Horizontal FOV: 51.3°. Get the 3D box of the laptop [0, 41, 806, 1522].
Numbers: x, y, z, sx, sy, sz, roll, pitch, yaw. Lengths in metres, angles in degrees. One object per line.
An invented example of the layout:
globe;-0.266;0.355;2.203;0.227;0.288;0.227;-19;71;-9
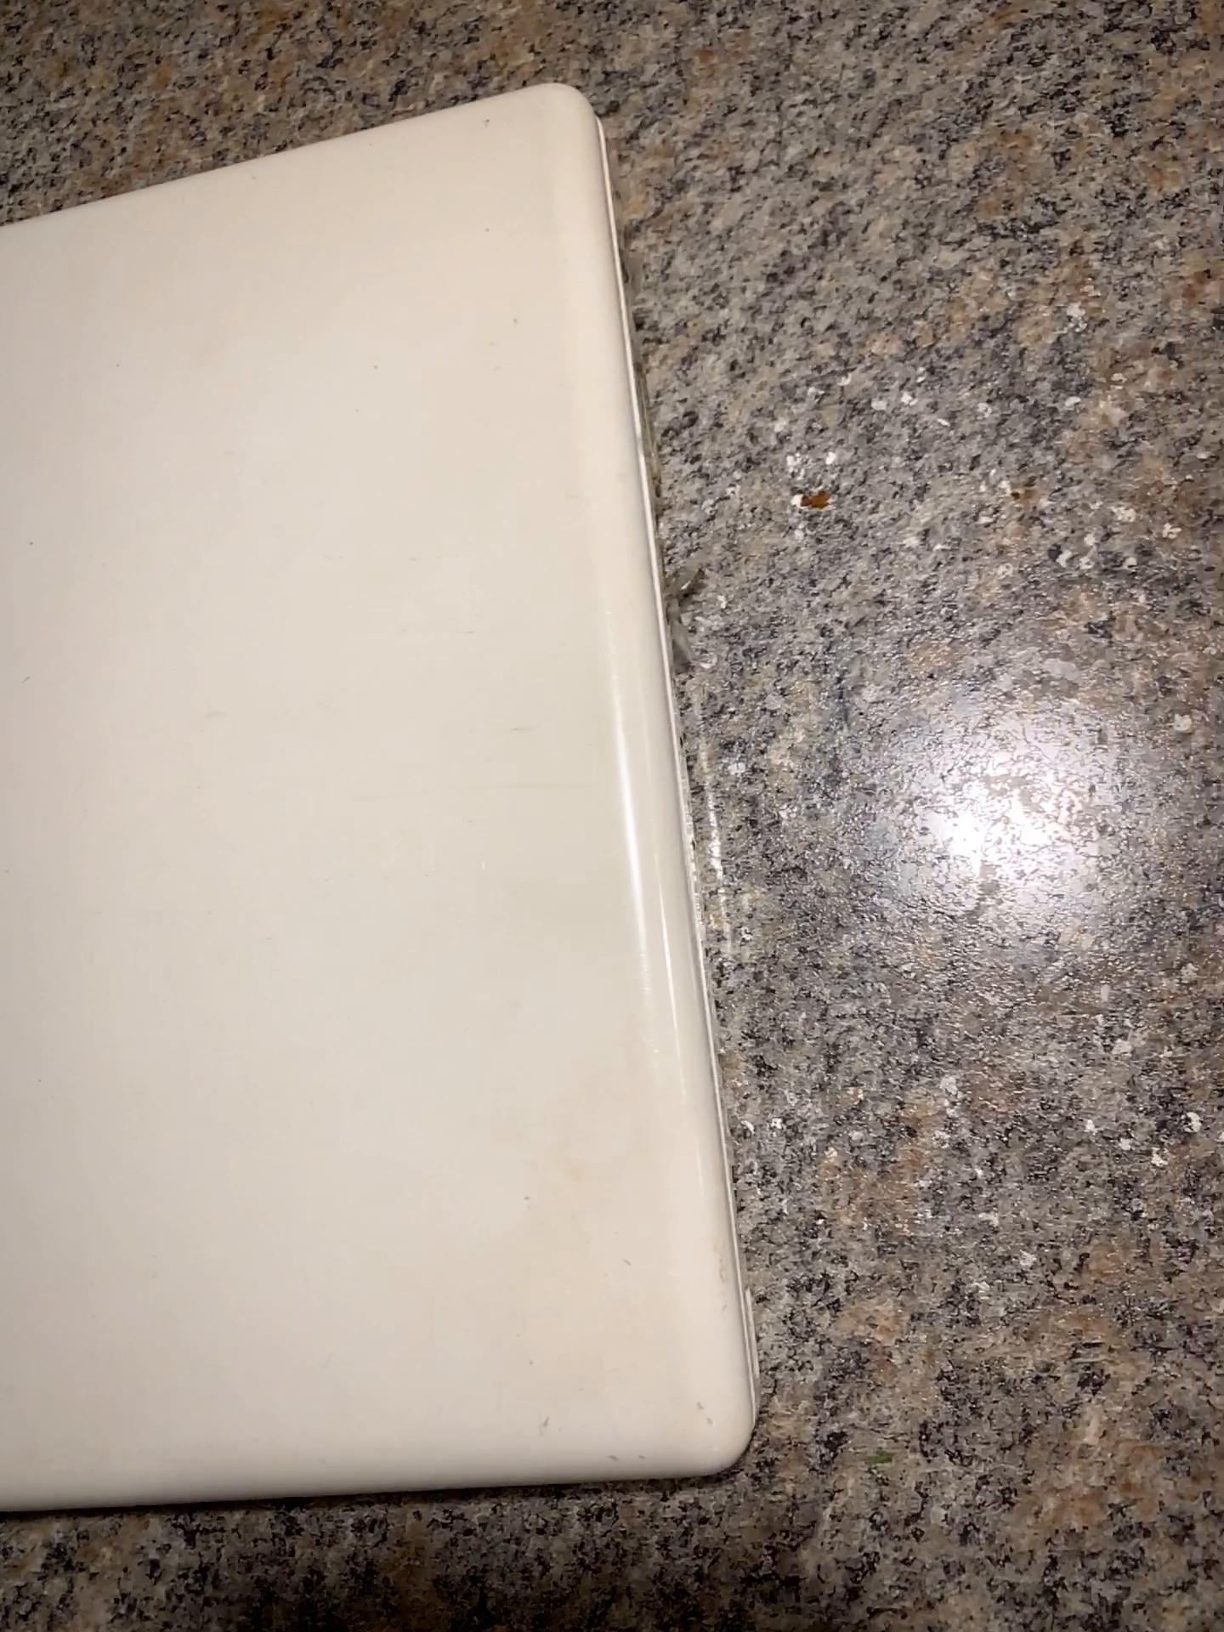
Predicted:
laptop;-0.134;0.002;0.212;0.305;0.002;0.205;-10;76;14
